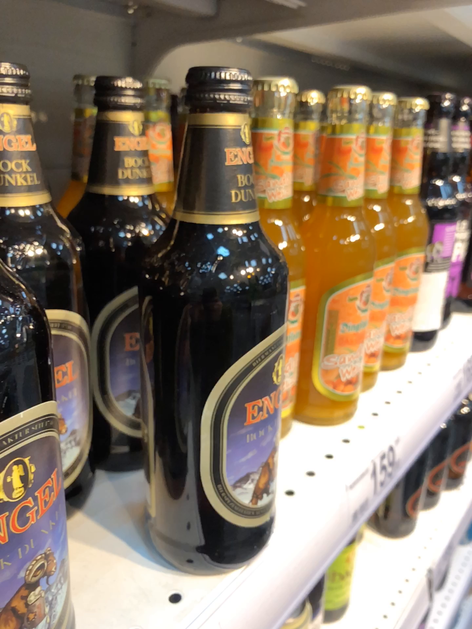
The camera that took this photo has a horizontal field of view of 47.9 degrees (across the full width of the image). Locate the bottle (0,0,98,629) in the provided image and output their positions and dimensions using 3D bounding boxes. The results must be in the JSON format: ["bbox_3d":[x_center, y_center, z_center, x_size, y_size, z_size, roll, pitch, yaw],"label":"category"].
[{"bbox_3d":[-0.096,0.034,0.170,0.061,0.233,0.070,14,22,29],"label":"bottle"}]

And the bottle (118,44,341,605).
[{"bbox_3d":[-0.005,0.008,0.247,0.061,0.229,0.070,14,22,29],"label":"bottle"}]

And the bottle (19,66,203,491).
[{"bbox_3d":[-0.073,-0.021,0.328,0.070,0.233,0.069,3,19,-1],"label":"bottle"}]
